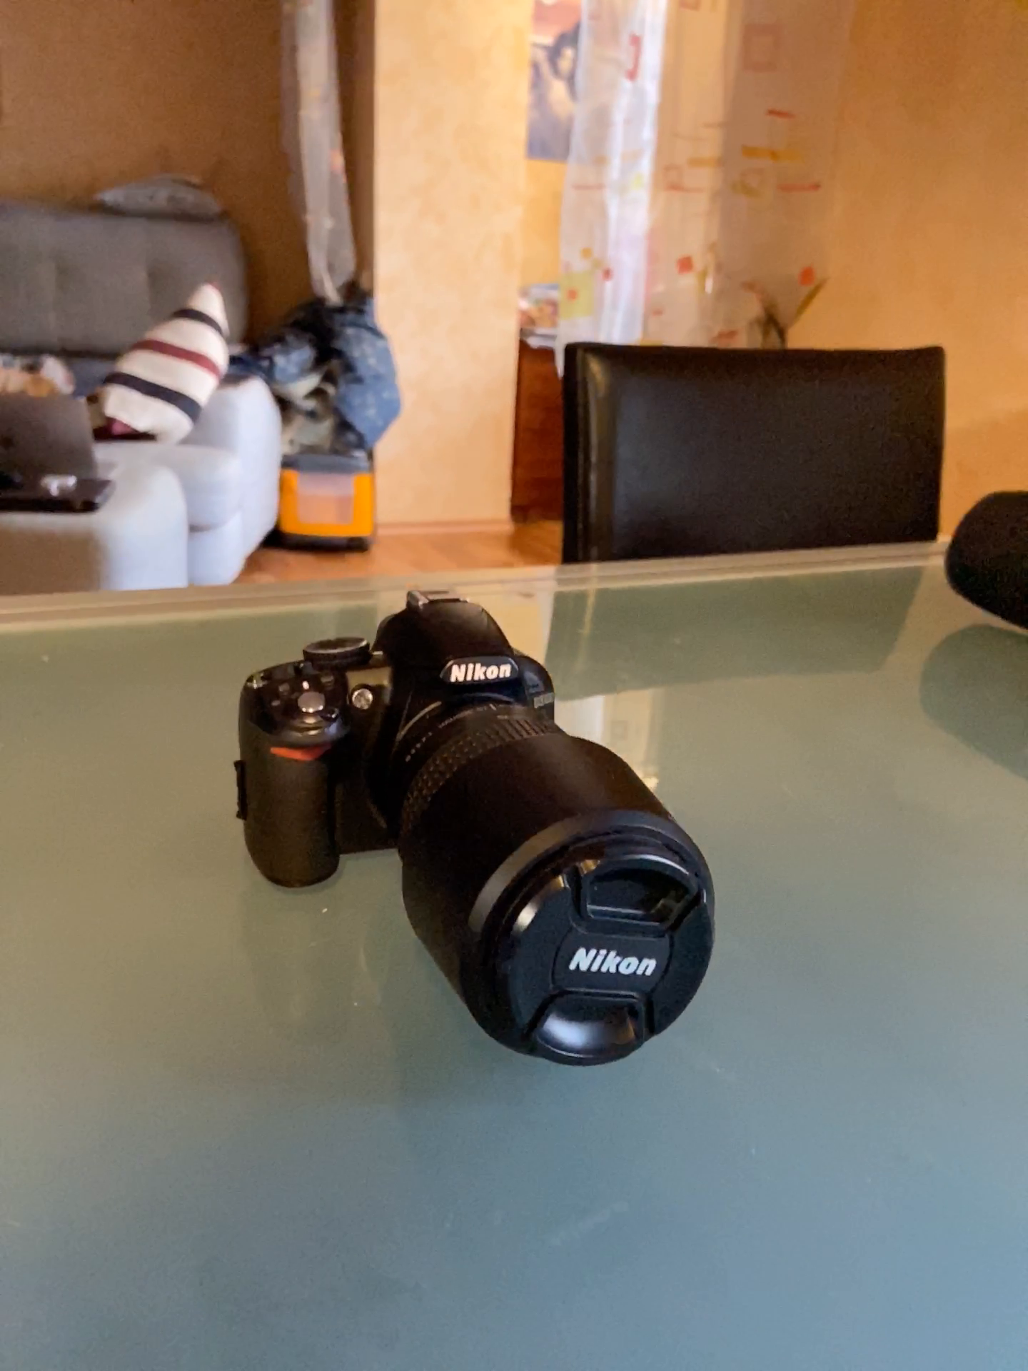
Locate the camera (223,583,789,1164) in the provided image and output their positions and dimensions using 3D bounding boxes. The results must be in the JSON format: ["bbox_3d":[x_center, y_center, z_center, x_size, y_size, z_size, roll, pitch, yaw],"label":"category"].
[{"bbox_3d":[-0.021,0.040,0.359,0.124,0.094,0.189,-5,23,-21],"label":"camera"}]
